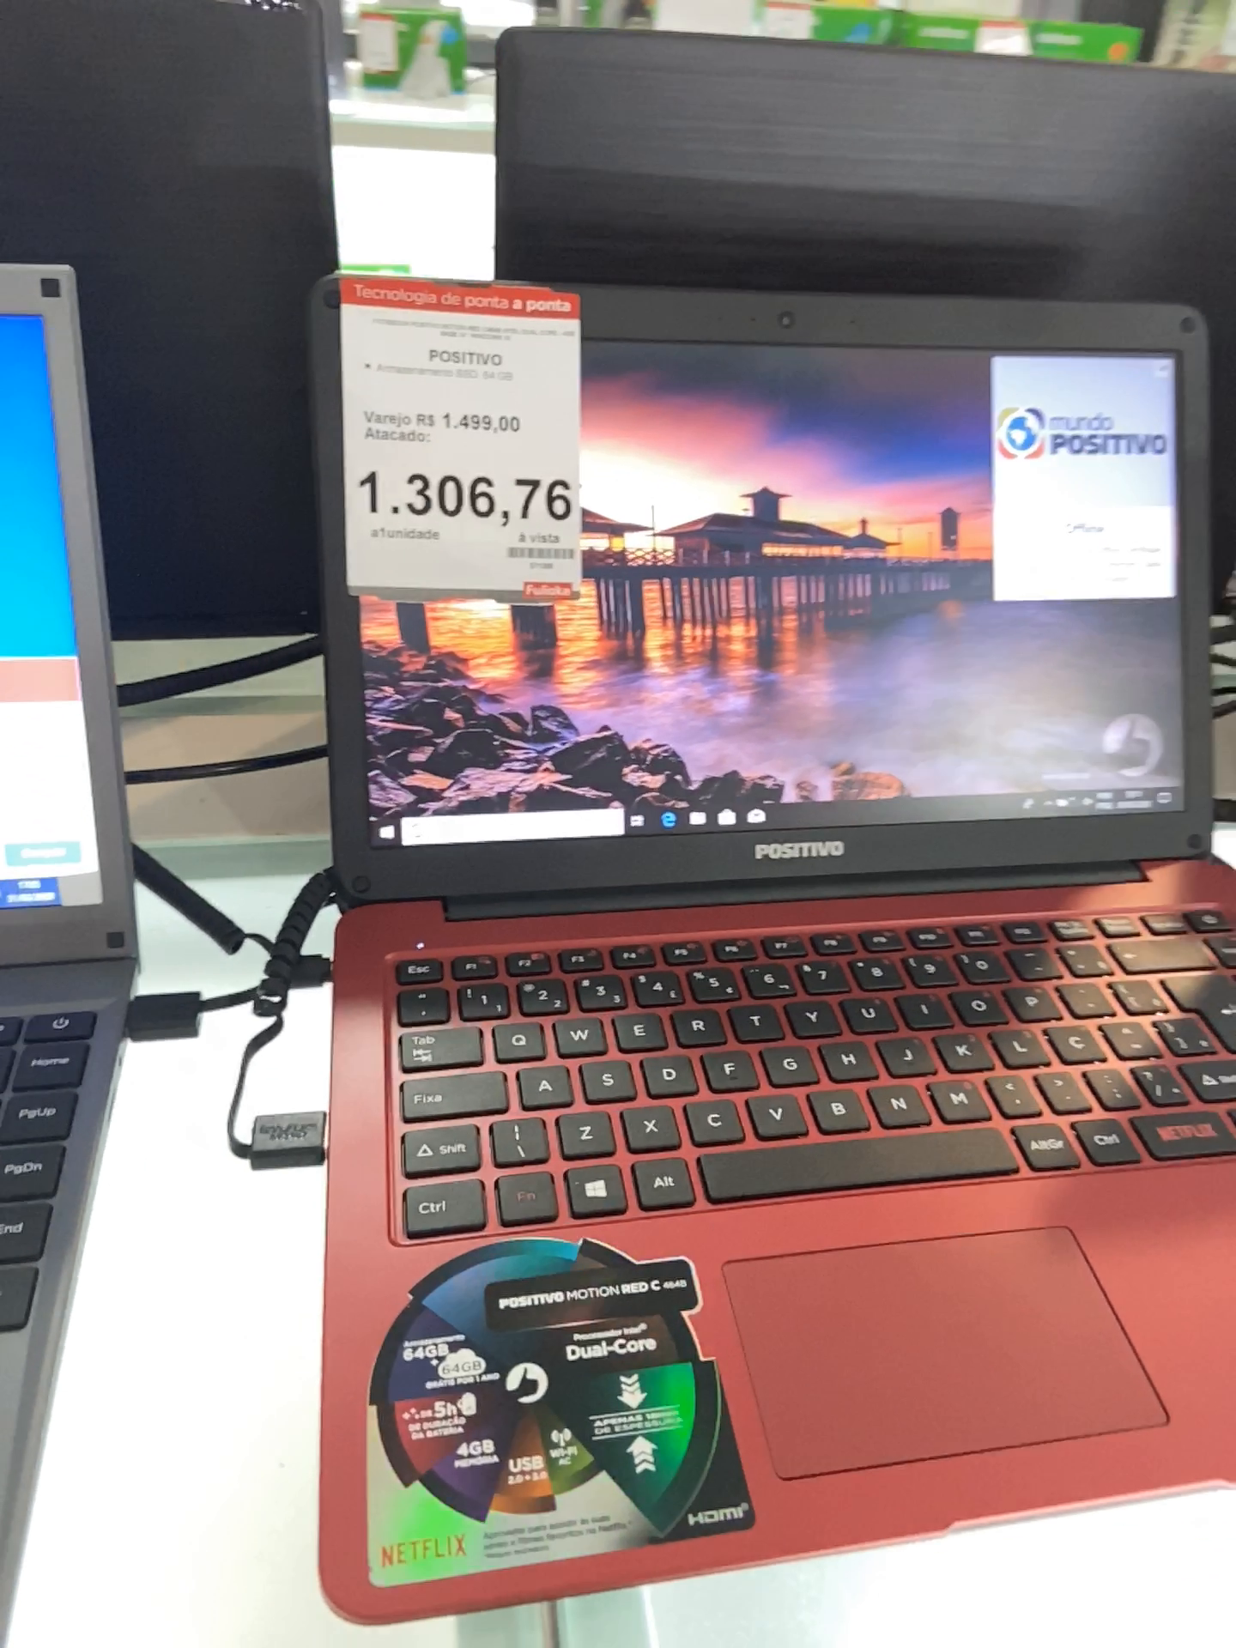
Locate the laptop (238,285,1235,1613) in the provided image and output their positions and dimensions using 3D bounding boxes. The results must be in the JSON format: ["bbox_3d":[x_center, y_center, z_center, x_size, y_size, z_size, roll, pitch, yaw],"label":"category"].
[{"bbox_3d":[0.080,-0.020,0.361,0.320,0.167,0.335,-2,36,-10],"label":"laptop"}]
